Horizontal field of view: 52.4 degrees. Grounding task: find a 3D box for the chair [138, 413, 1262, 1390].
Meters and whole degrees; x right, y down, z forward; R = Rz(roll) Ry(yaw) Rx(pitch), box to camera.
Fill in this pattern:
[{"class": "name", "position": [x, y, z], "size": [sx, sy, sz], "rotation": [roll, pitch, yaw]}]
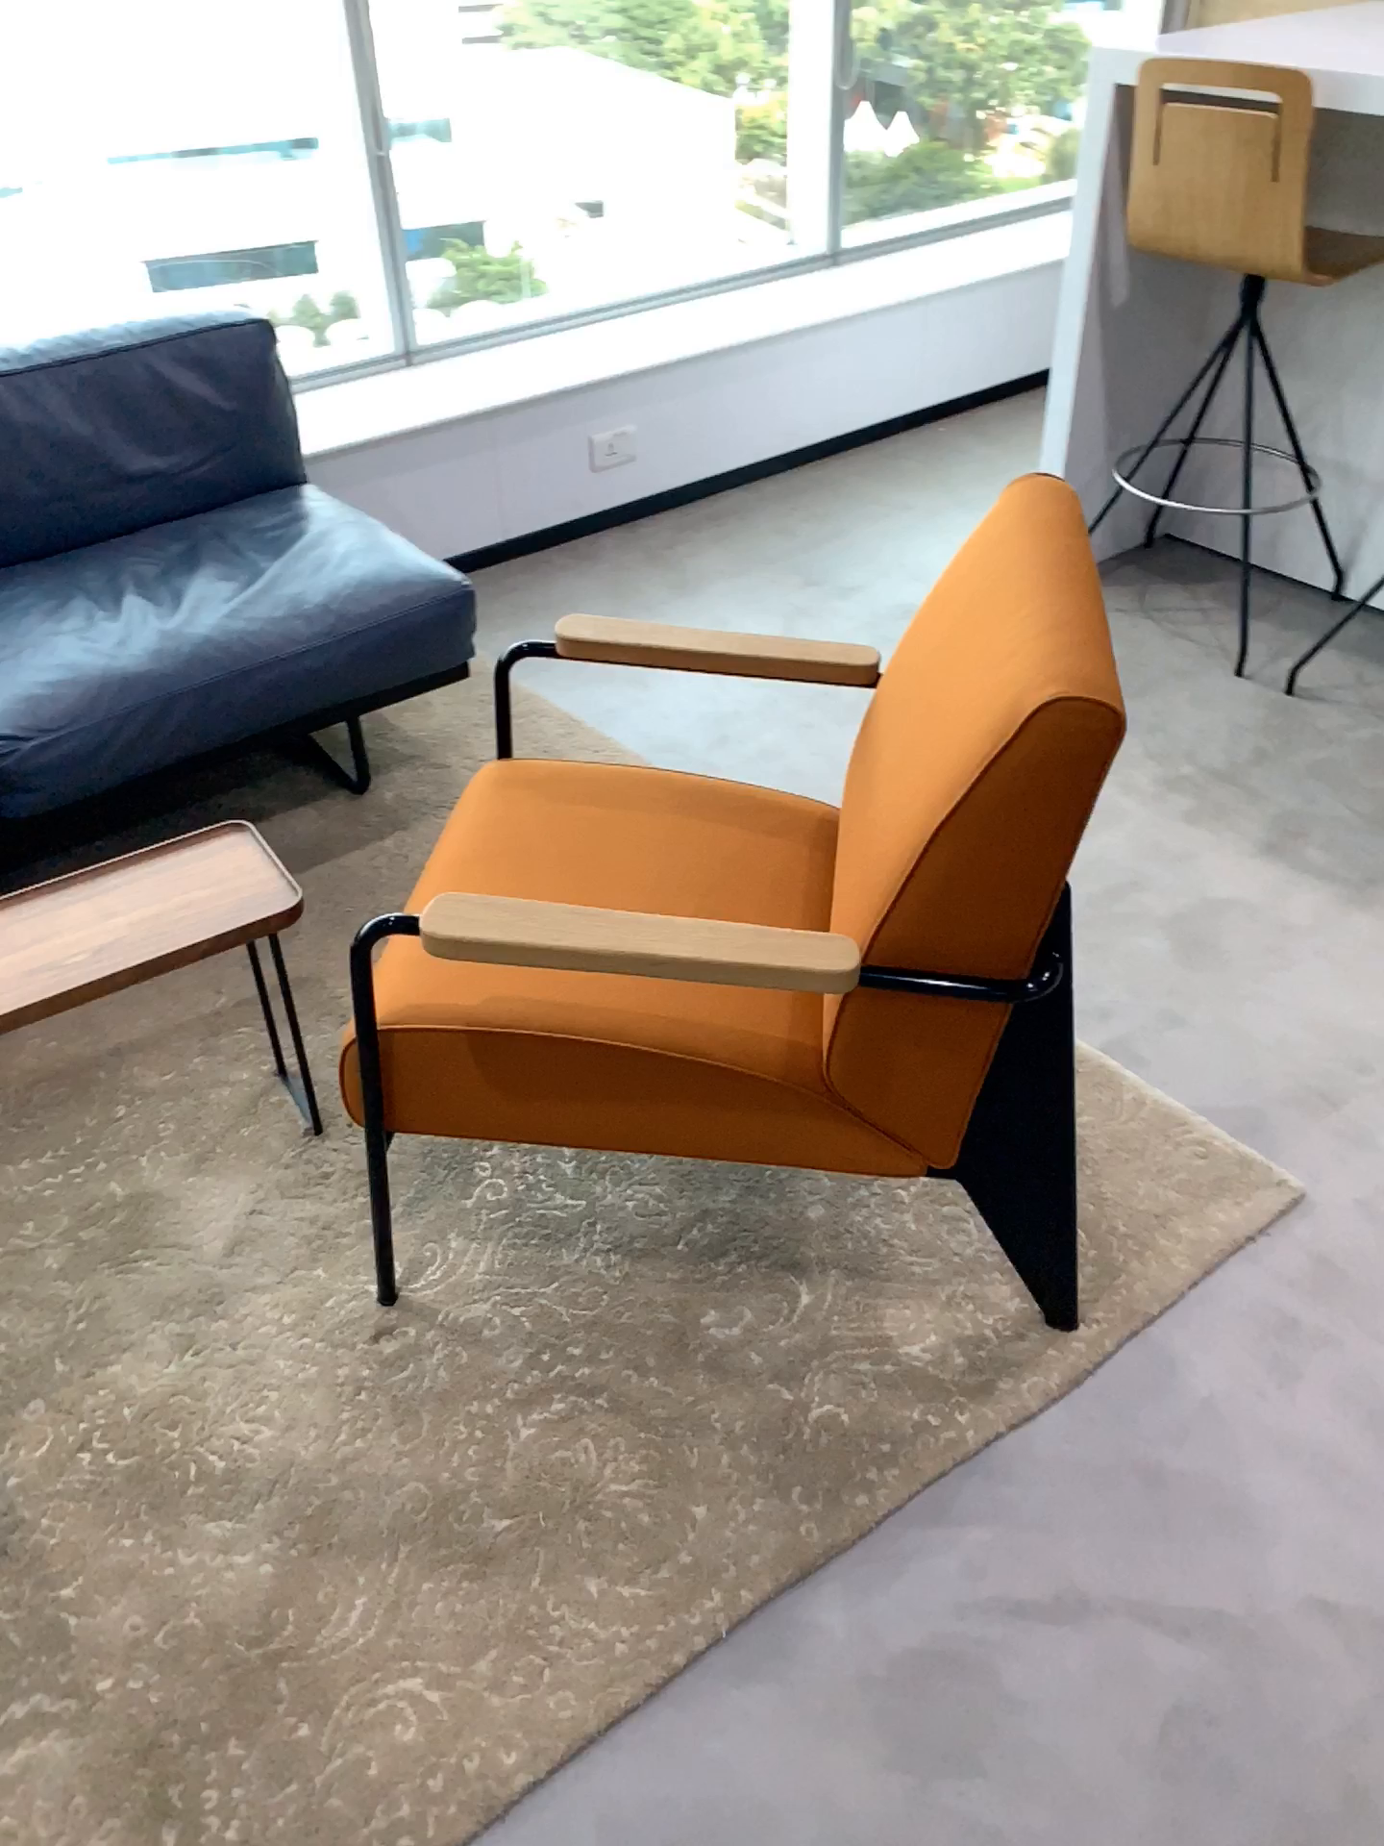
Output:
[{"class": "chair", "position": [0.049, -0.069, 1.572], "size": [0.860, 0.734, 0.736], "rotation": [5, 38, 8]}]
